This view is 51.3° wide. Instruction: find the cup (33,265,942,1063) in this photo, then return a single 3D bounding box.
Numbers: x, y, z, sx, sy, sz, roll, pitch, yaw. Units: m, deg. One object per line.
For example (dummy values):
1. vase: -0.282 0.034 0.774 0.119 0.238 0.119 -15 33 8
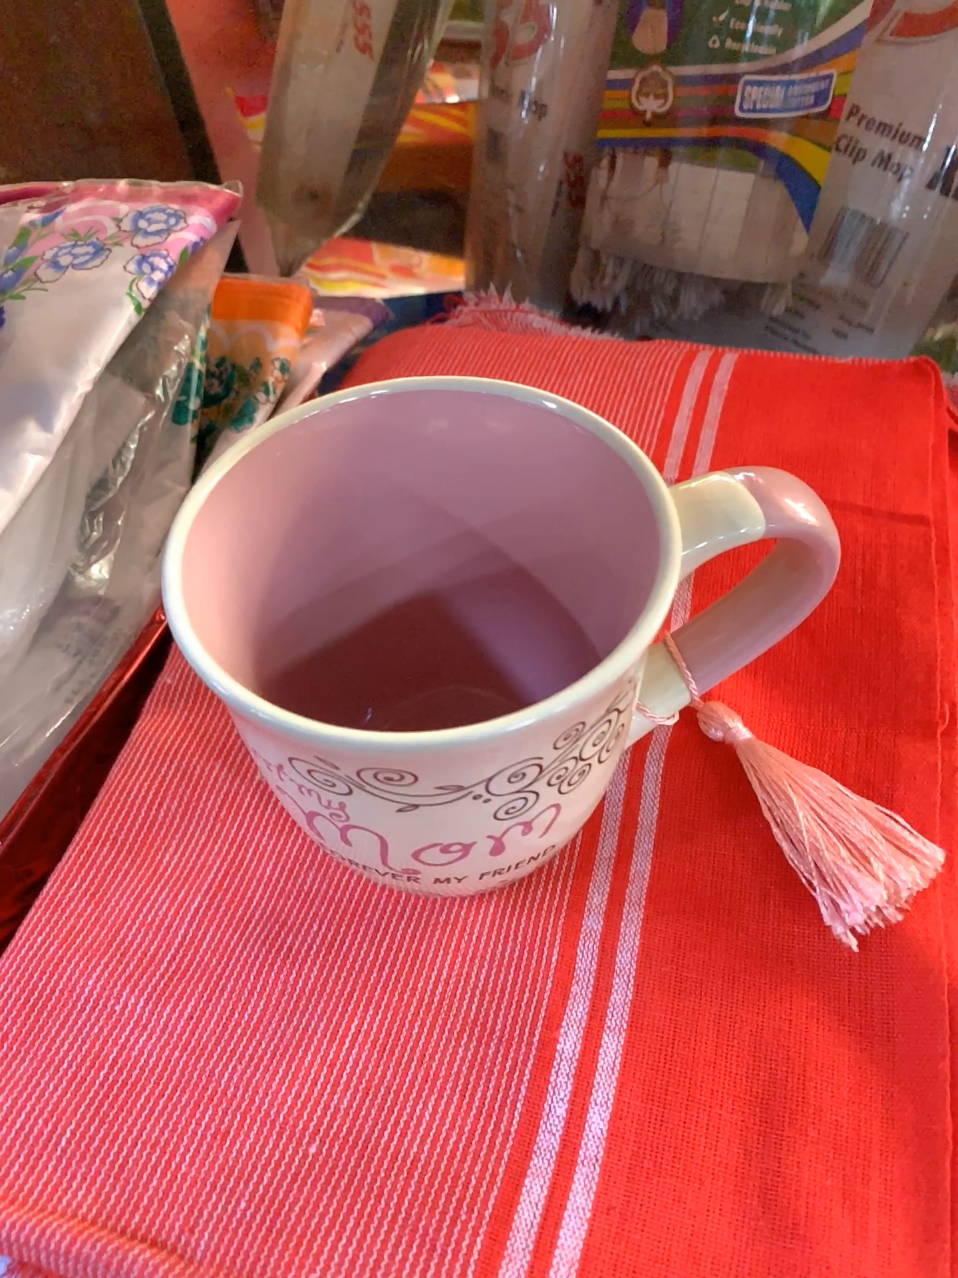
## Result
1. cup: -0.001 0.002 0.194 0.125 0.075 0.086 -24 54 -12
